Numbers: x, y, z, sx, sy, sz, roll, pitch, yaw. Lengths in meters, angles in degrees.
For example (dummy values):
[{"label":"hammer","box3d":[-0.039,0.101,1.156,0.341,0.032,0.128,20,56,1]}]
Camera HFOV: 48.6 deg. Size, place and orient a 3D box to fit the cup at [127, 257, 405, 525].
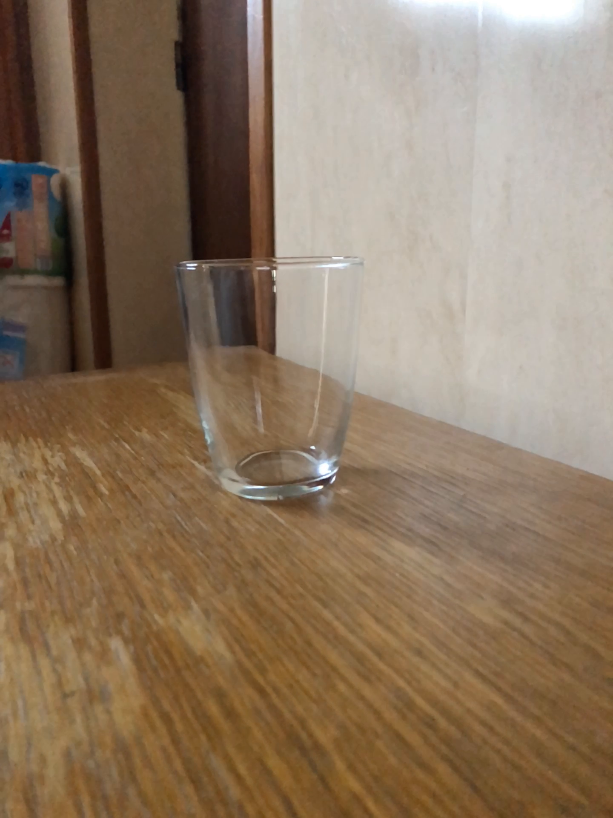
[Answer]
[{"label":"cup","box3d":[-0.014,-0.014,0.251,0.070,0.080,0.070,-1,13,0]}]
